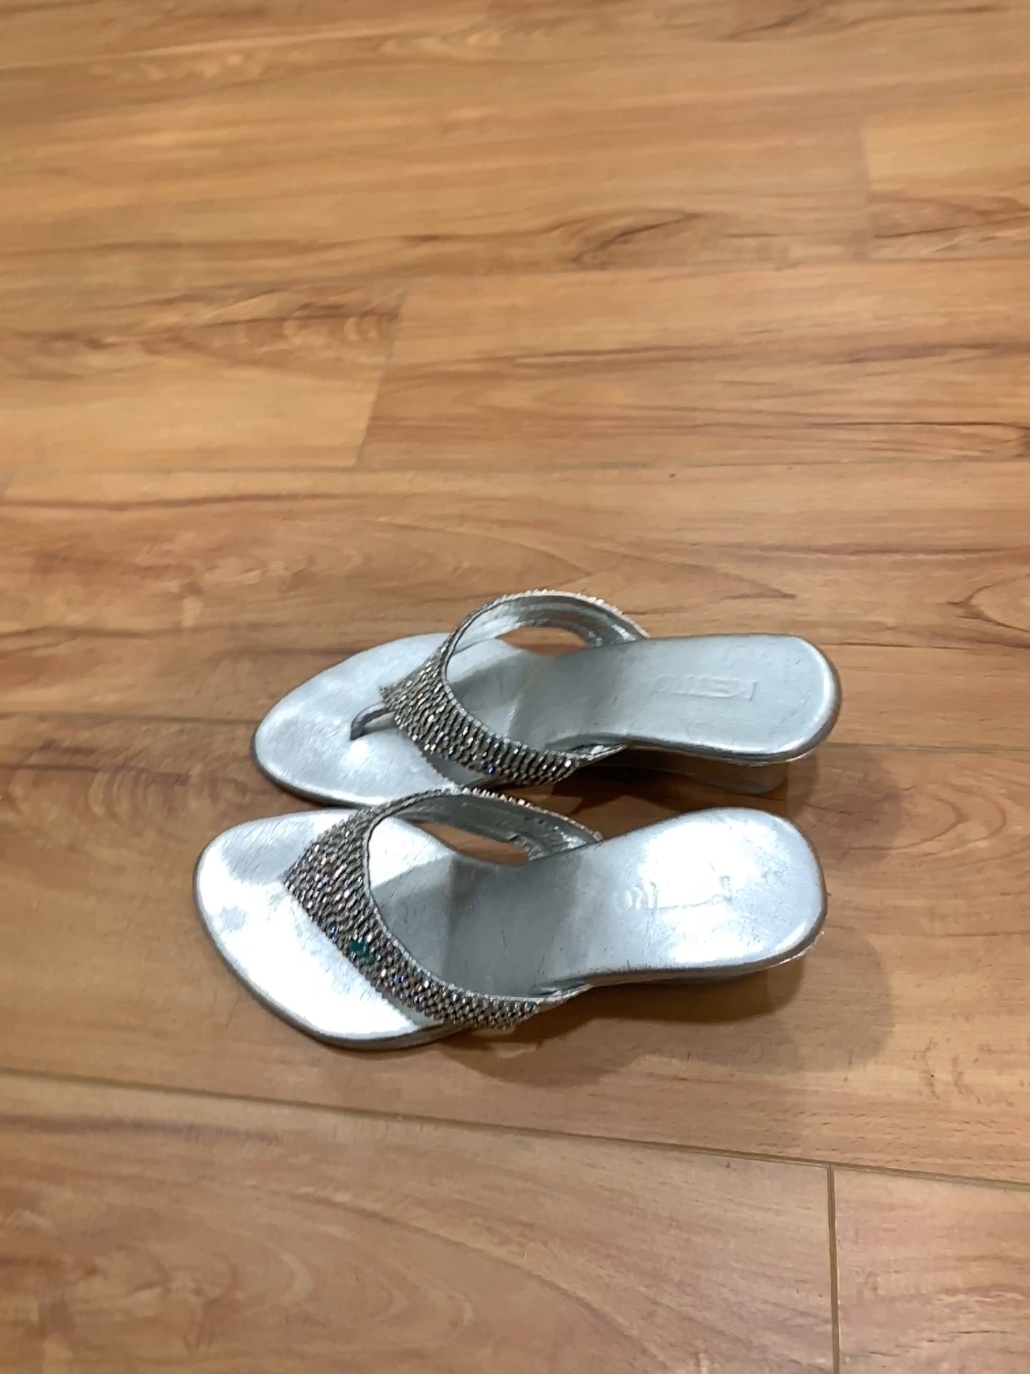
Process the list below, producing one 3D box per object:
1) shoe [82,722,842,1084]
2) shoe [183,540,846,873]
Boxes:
[{"bbox_3d":[-0.013,0.073,0.366,0.228,0.073,0.096,-1,56,10],"label":"shoe"},{"bbox_3d":[0.004,0.004,0.408,0.228,0.073,0.086,4,57,13],"label":"shoe"}]
